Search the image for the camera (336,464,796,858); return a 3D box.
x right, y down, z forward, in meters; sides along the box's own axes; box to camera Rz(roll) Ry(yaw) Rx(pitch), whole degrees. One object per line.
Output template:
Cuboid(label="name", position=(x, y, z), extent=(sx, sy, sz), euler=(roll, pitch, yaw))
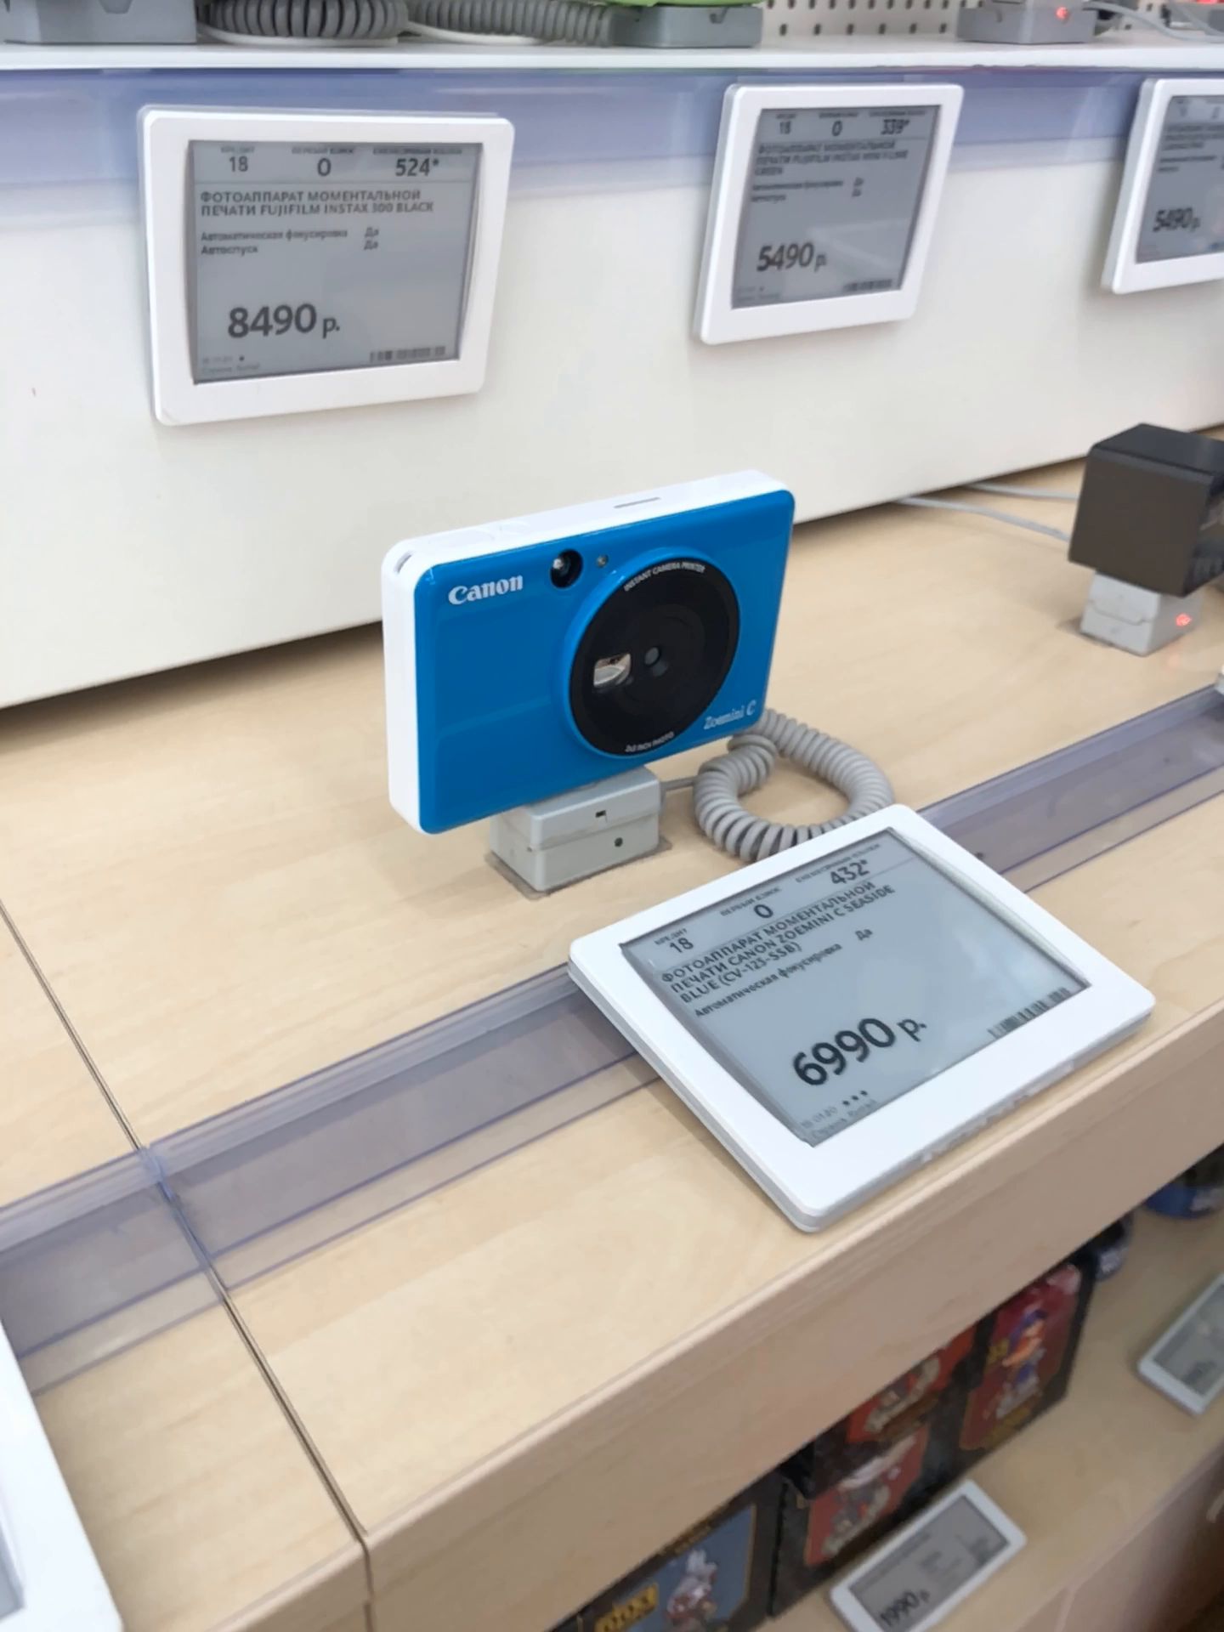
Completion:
Cuboid(label="camera", position=(-0.010, -0.043, 0.354), extent=(0.119, 0.072, 0.025), euler=(-20, 42, -30))
